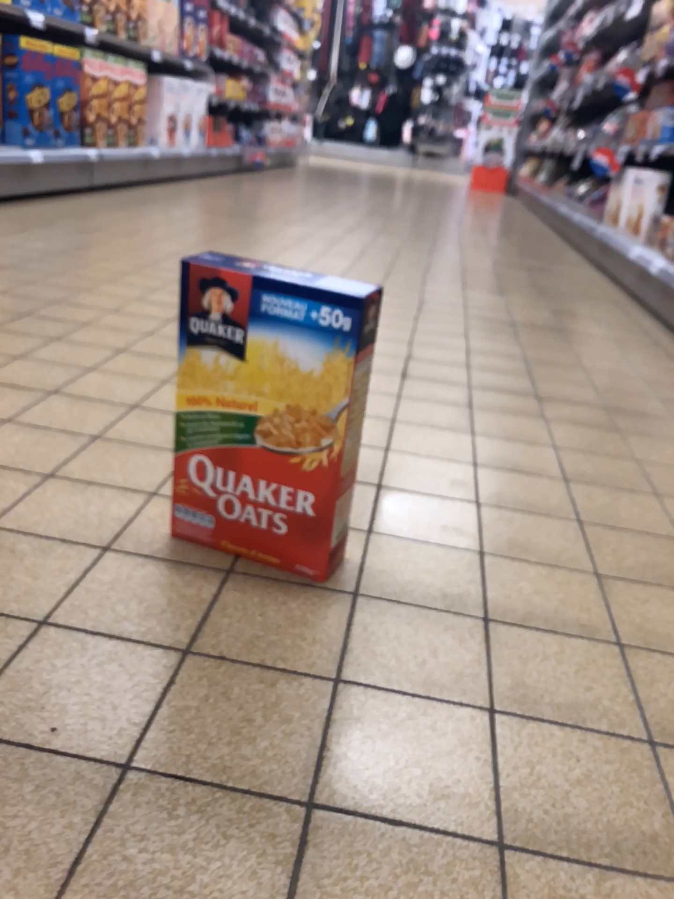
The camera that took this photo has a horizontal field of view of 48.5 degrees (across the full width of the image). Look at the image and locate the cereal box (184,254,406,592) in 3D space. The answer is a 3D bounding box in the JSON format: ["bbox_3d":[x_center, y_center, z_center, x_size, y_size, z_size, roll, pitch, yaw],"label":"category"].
[{"bbox_3d":[-0.038,-0.021,0.578,0.140,0.229,0.050,15,23,17],"label":"cereal box"}]
